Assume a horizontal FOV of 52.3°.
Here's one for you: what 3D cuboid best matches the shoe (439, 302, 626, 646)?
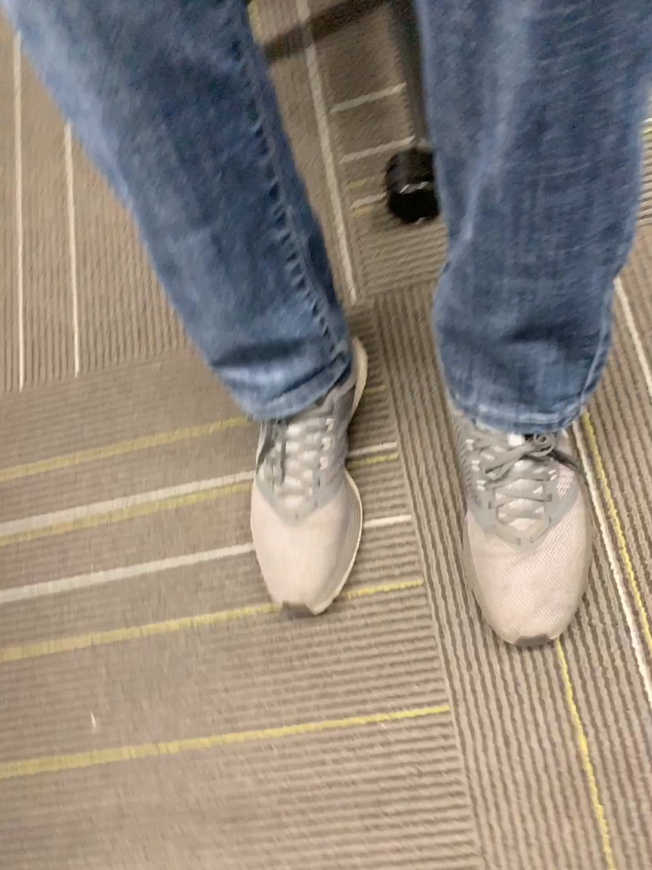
[{"bbox_3d":[0.174,0.036,0.591,0.124,0.078,0.286,-4,73,13],"label":"shoe"}]

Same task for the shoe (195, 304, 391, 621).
[{"bbox_3d":[-0.024,0.023,0.635,0.132,0.078,0.284,4,76,15],"label":"shoe"}]
